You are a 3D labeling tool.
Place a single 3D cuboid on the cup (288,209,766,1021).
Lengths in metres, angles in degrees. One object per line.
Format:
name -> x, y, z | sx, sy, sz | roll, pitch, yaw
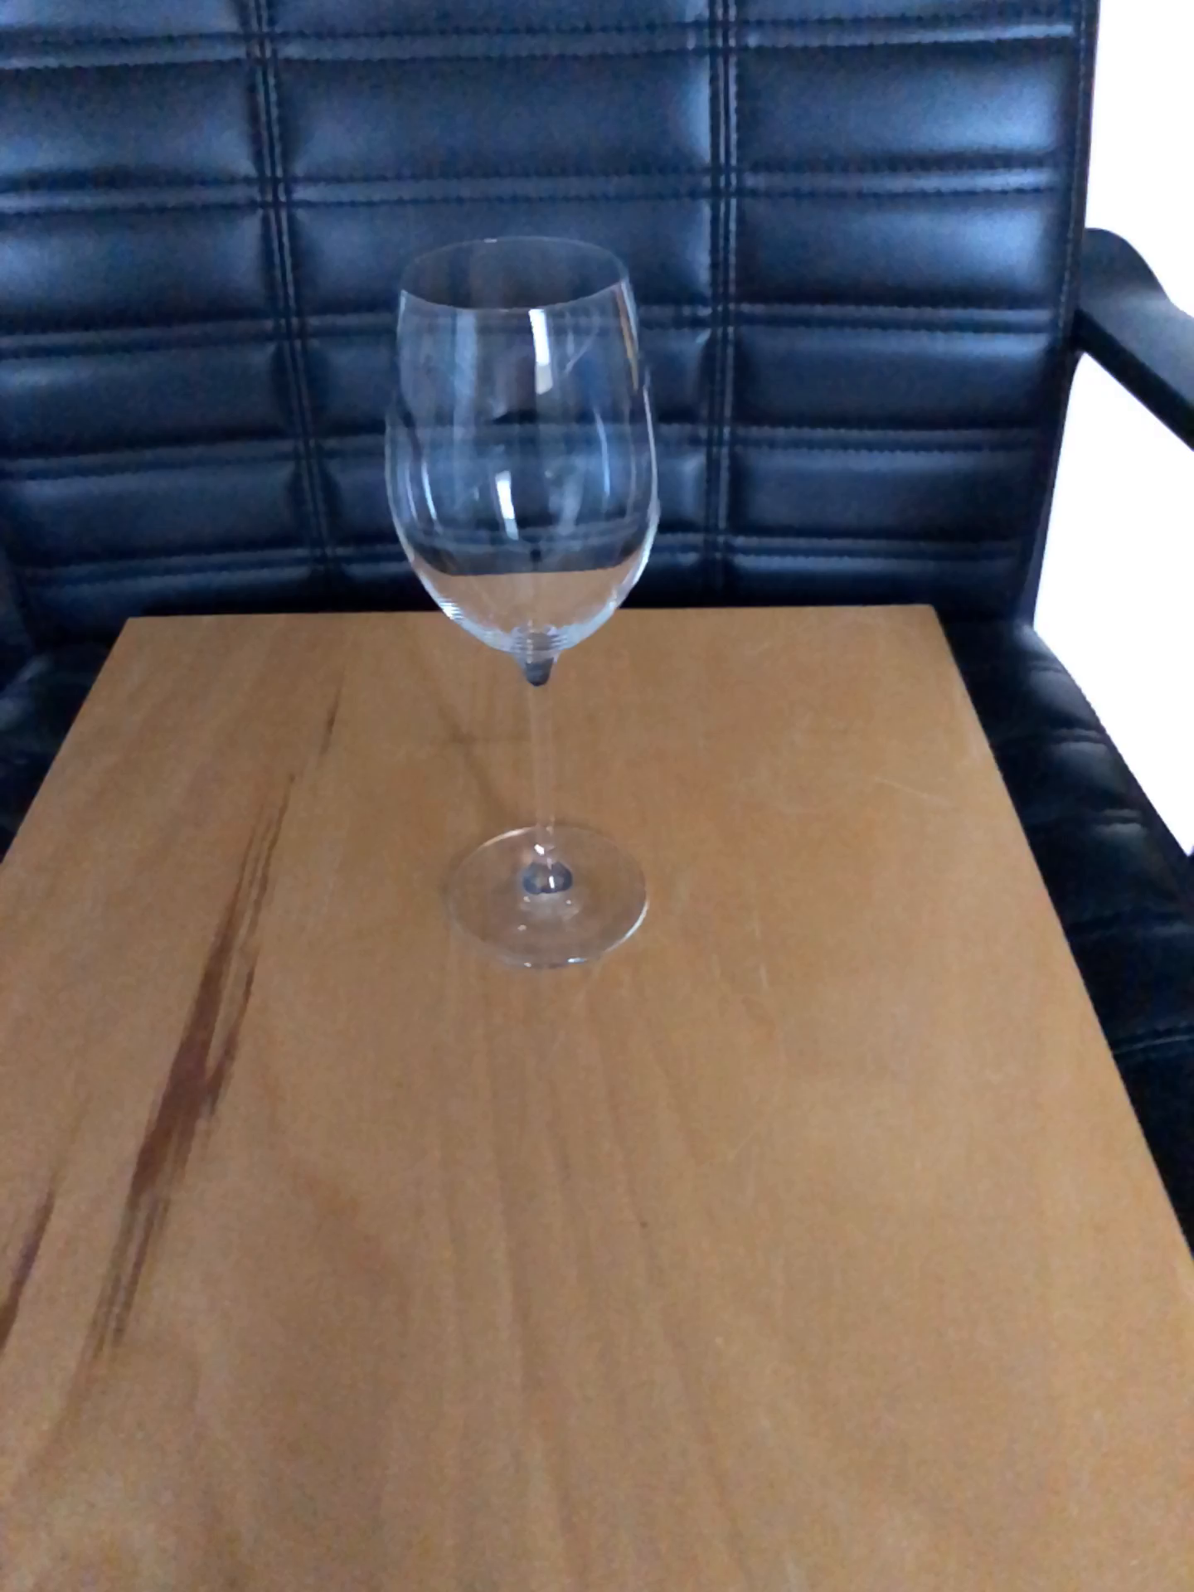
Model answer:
cup -> -0.013, -0.050, 0.408 | 0.089, 0.218, 0.090 | -1, 39, 1
